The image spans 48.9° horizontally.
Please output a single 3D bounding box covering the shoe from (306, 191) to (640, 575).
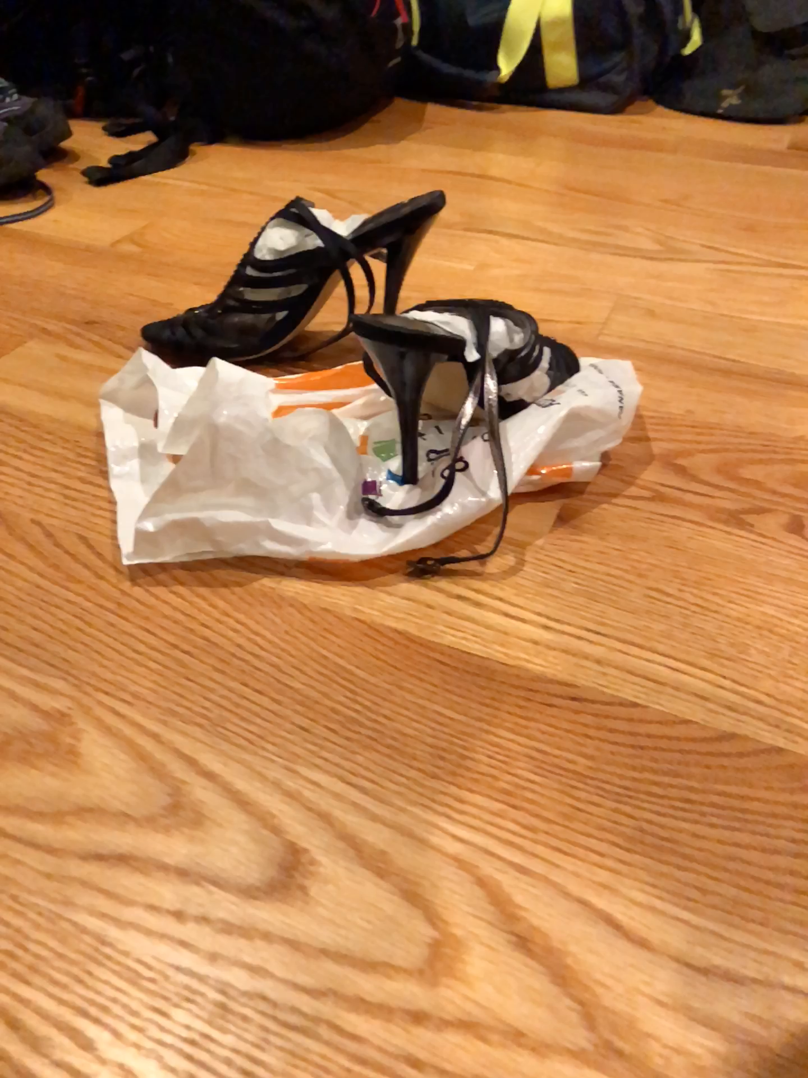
[{"bbox_3d":[0.046,-0.099,0.493,0.092,0.112,0.218,18,41,21],"label":"shoe"}]

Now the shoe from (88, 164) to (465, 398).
[{"bbox_3d":[-0.073,-0.170,0.583,0.217,0.112,0.091,3,38,3],"label":"shoe"}]
